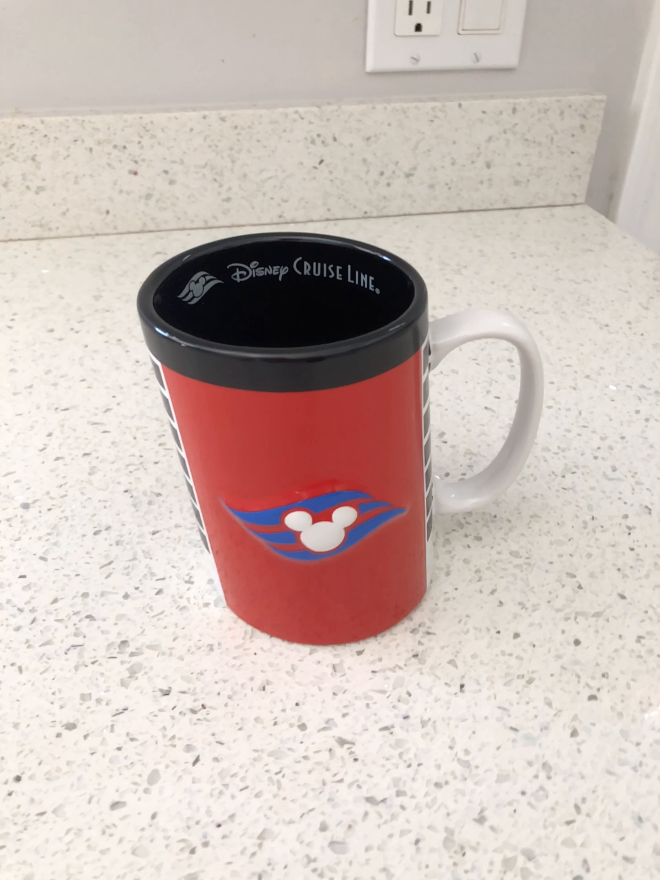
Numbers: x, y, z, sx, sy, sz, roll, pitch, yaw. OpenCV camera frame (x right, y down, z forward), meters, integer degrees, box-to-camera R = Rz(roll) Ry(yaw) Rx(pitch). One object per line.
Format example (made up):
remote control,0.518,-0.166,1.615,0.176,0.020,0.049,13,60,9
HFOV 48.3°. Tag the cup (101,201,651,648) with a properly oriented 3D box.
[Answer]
cup,0.008,-0.008,0.241,0.130,0.110,0.090,-2,36,-4
